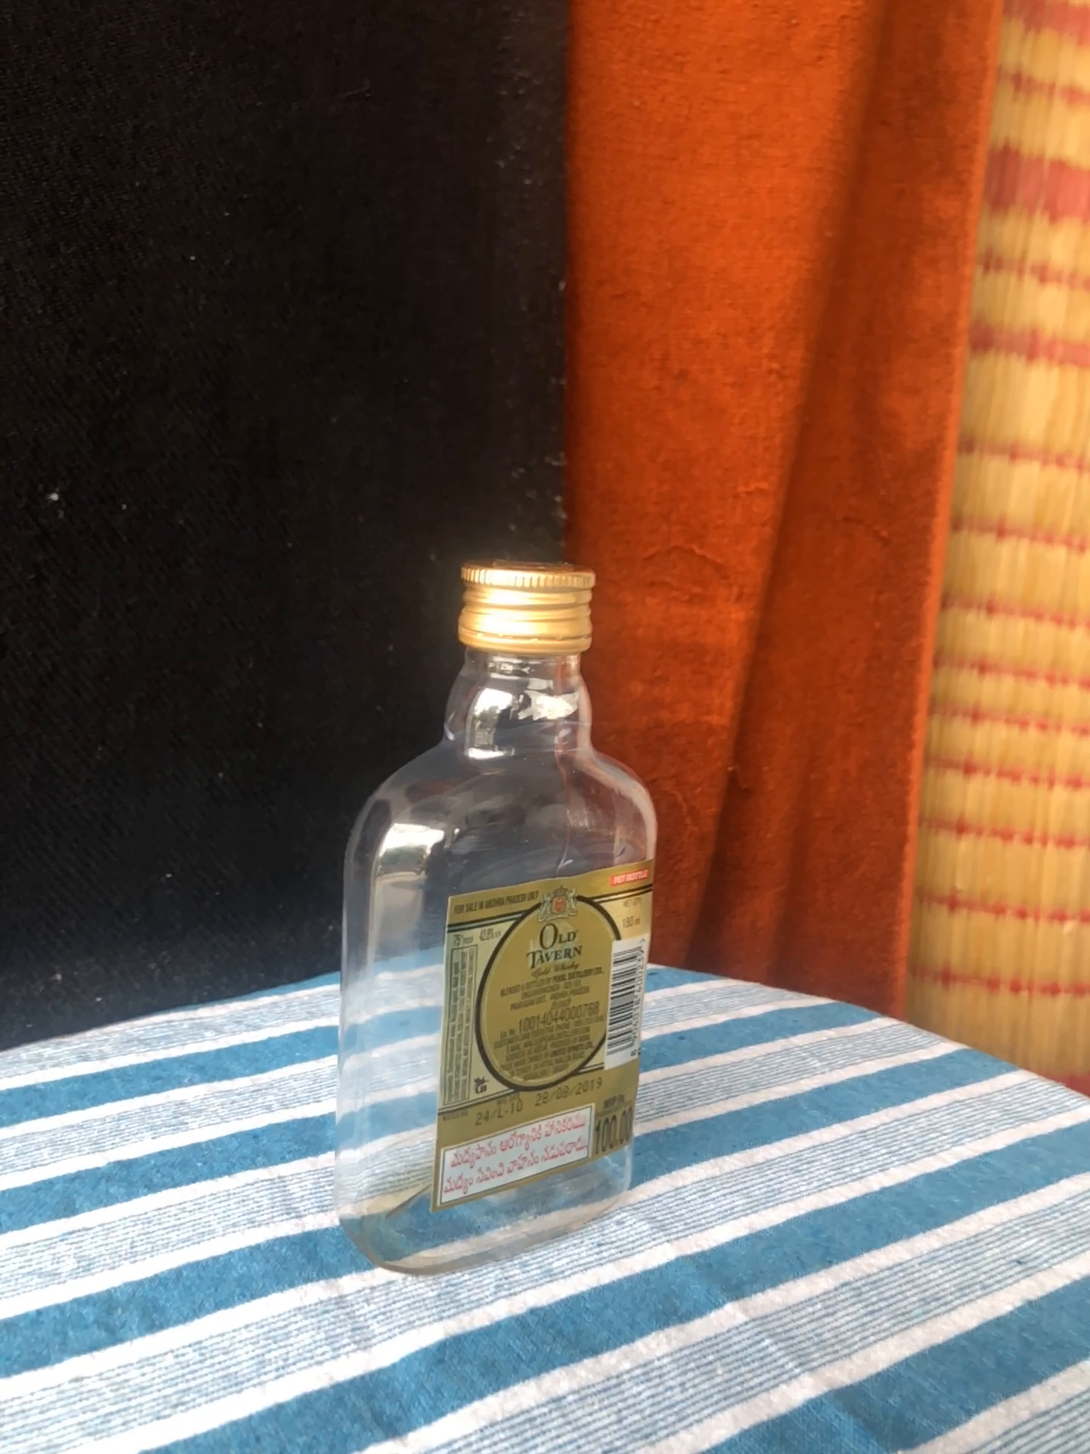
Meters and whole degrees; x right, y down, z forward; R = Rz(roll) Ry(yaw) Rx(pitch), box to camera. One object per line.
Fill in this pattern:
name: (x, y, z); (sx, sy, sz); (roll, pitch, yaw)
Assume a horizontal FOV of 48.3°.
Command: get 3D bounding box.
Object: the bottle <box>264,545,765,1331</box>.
bottle: (-0.008, 0.037, 0.250); (0.080, 0.140, 0.040); (-2, 14, -36)
